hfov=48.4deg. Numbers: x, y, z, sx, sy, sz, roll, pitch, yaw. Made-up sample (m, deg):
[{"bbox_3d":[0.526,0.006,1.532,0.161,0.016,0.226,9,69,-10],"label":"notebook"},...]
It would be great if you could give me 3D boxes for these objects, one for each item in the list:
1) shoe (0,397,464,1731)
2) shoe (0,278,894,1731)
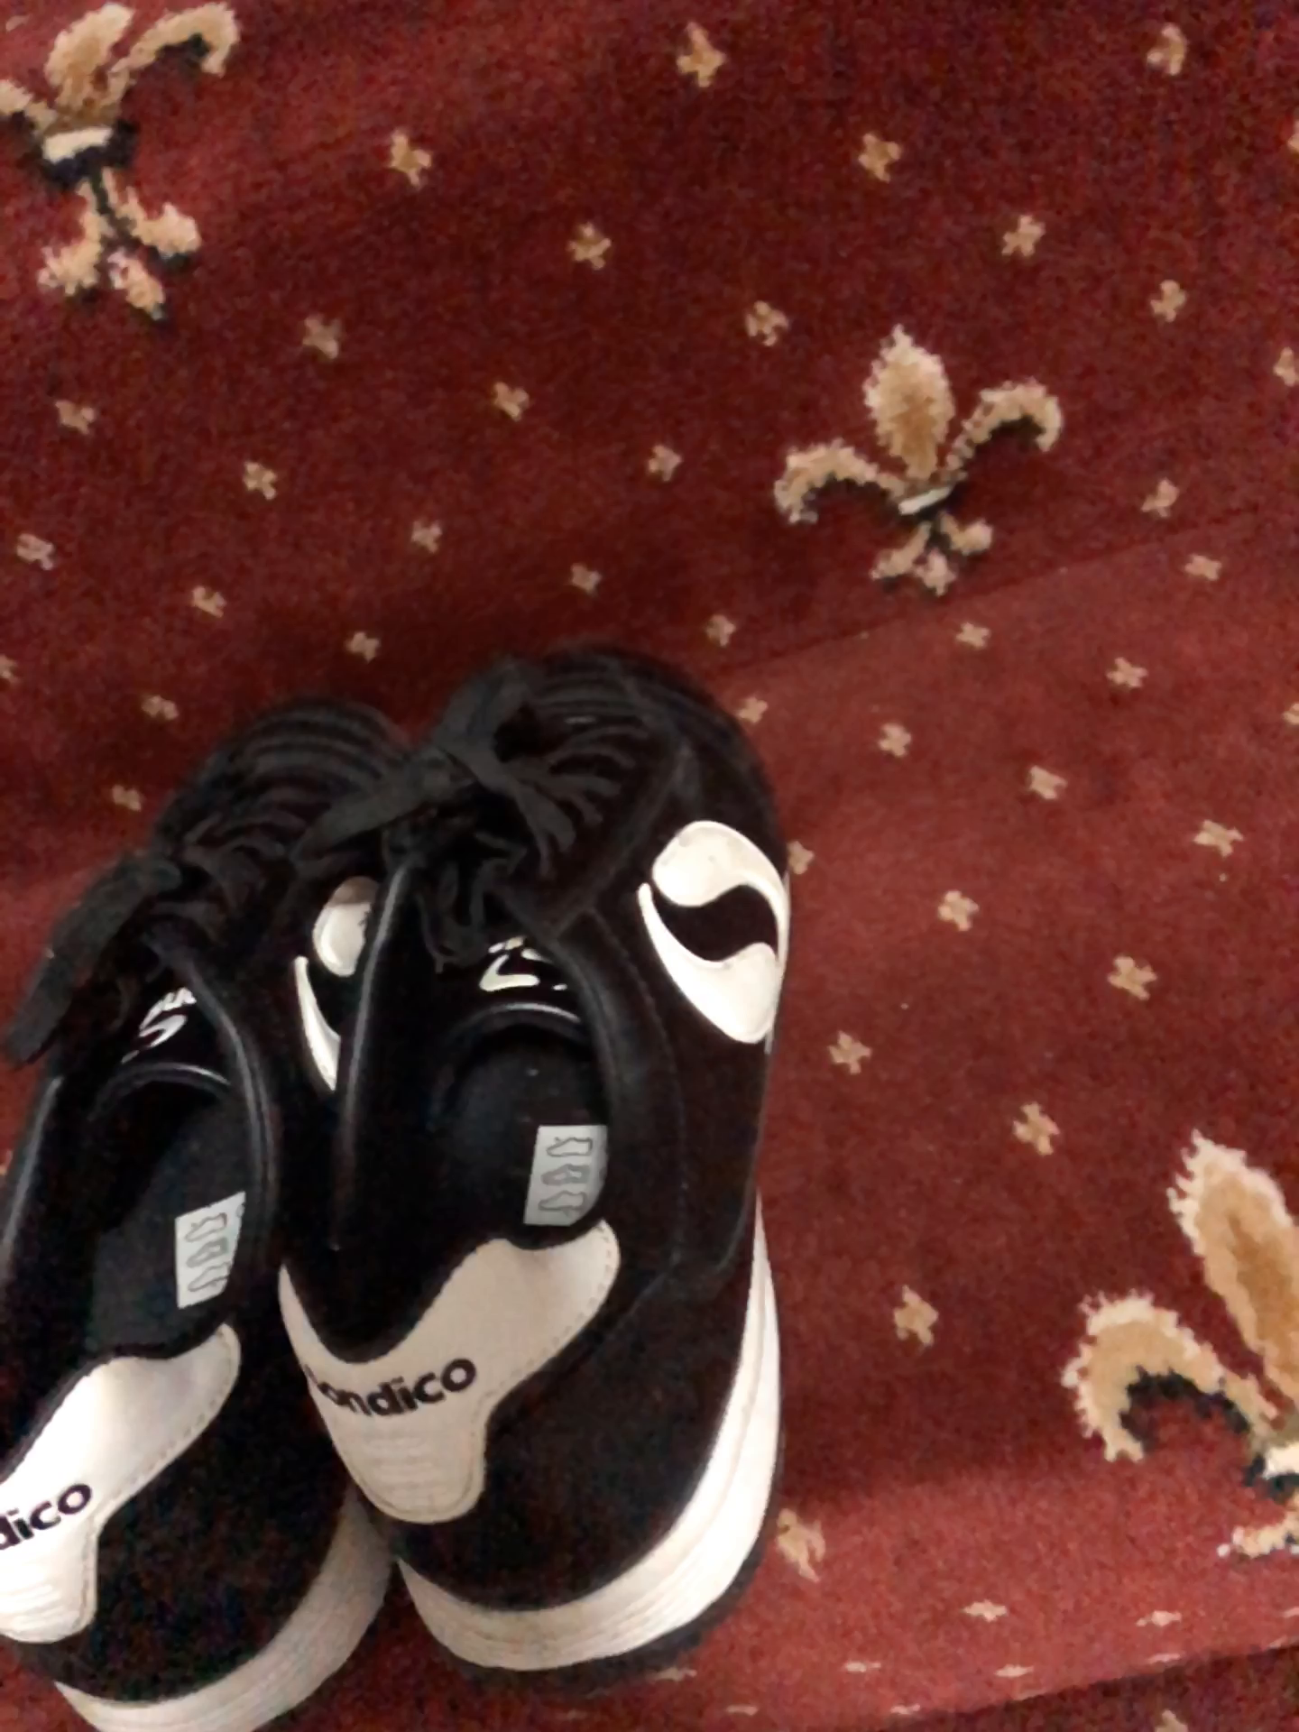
[{"bbox_3d":[-0.108,0.026,0.325,0.100,0.099,0.302,-15,45,8],"label":"shoe"},{"bbox_3d":[-0.029,0.001,0.311,0.100,0.099,0.302,-13,45,10],"label":"shoe"}]
